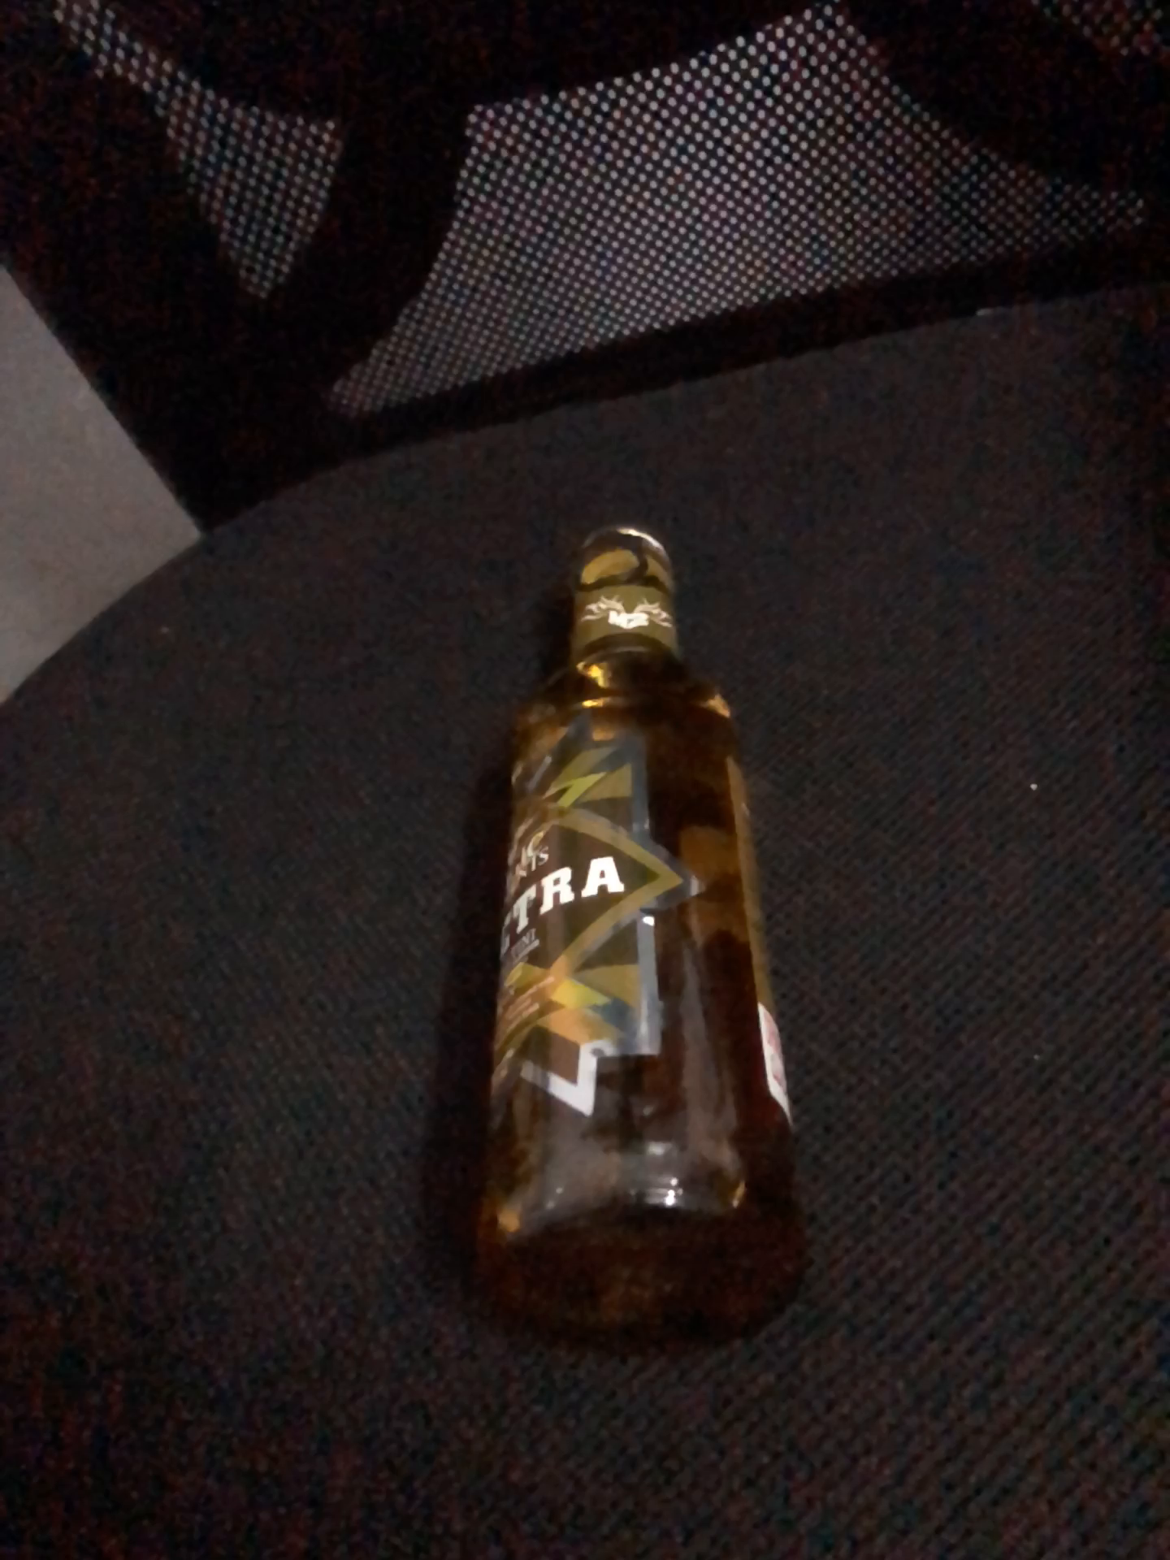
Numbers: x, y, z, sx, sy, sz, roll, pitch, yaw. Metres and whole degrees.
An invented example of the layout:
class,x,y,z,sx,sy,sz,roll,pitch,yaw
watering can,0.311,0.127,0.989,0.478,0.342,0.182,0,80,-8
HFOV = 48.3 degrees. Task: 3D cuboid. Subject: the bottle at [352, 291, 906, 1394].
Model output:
class,x,y,z,sx,sy,sz,roll,pitch,yaw
bottle,0.005,-0.004,0.280,0.070,0.060,0.231,-18,48,18
